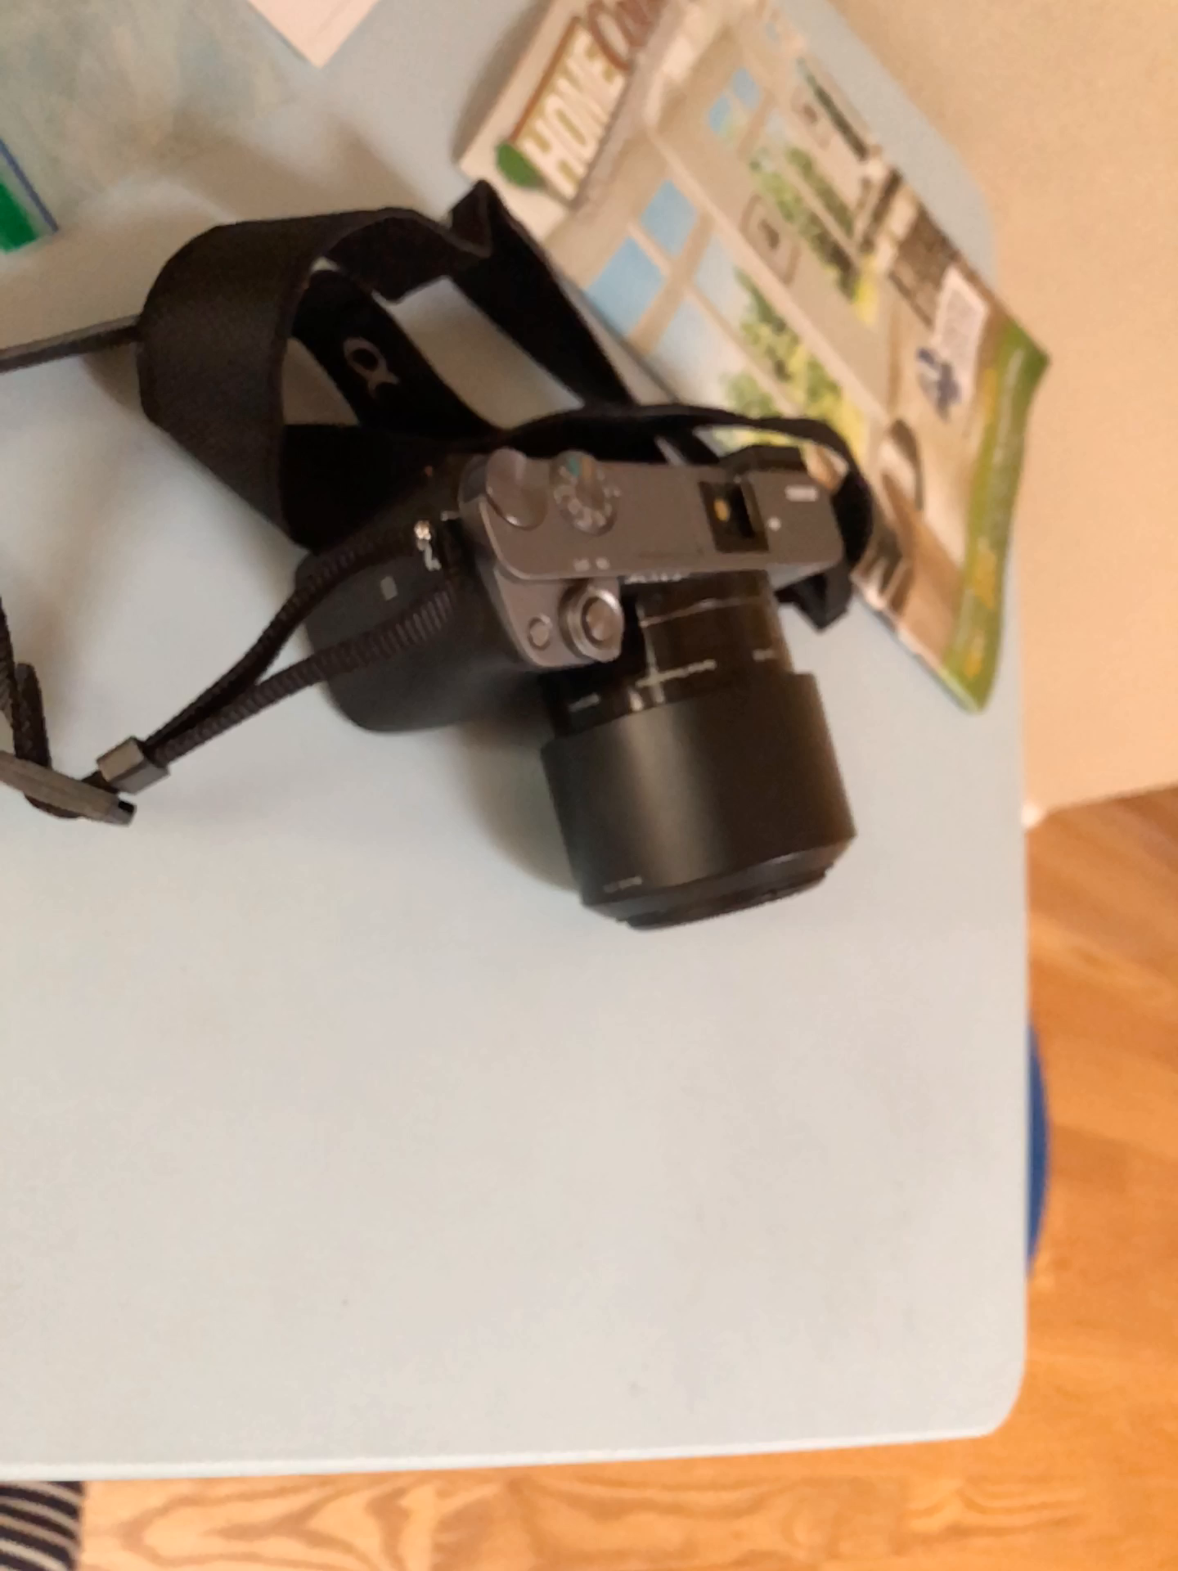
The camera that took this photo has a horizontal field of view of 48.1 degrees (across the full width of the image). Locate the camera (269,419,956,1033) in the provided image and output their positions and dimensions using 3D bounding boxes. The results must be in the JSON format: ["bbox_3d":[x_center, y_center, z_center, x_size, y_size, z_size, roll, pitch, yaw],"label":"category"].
[{"bbox_3d":[0.011,-0.015,0.312,0.131,0.070,0.110,-10,85,-46],"label":"camera"}]
